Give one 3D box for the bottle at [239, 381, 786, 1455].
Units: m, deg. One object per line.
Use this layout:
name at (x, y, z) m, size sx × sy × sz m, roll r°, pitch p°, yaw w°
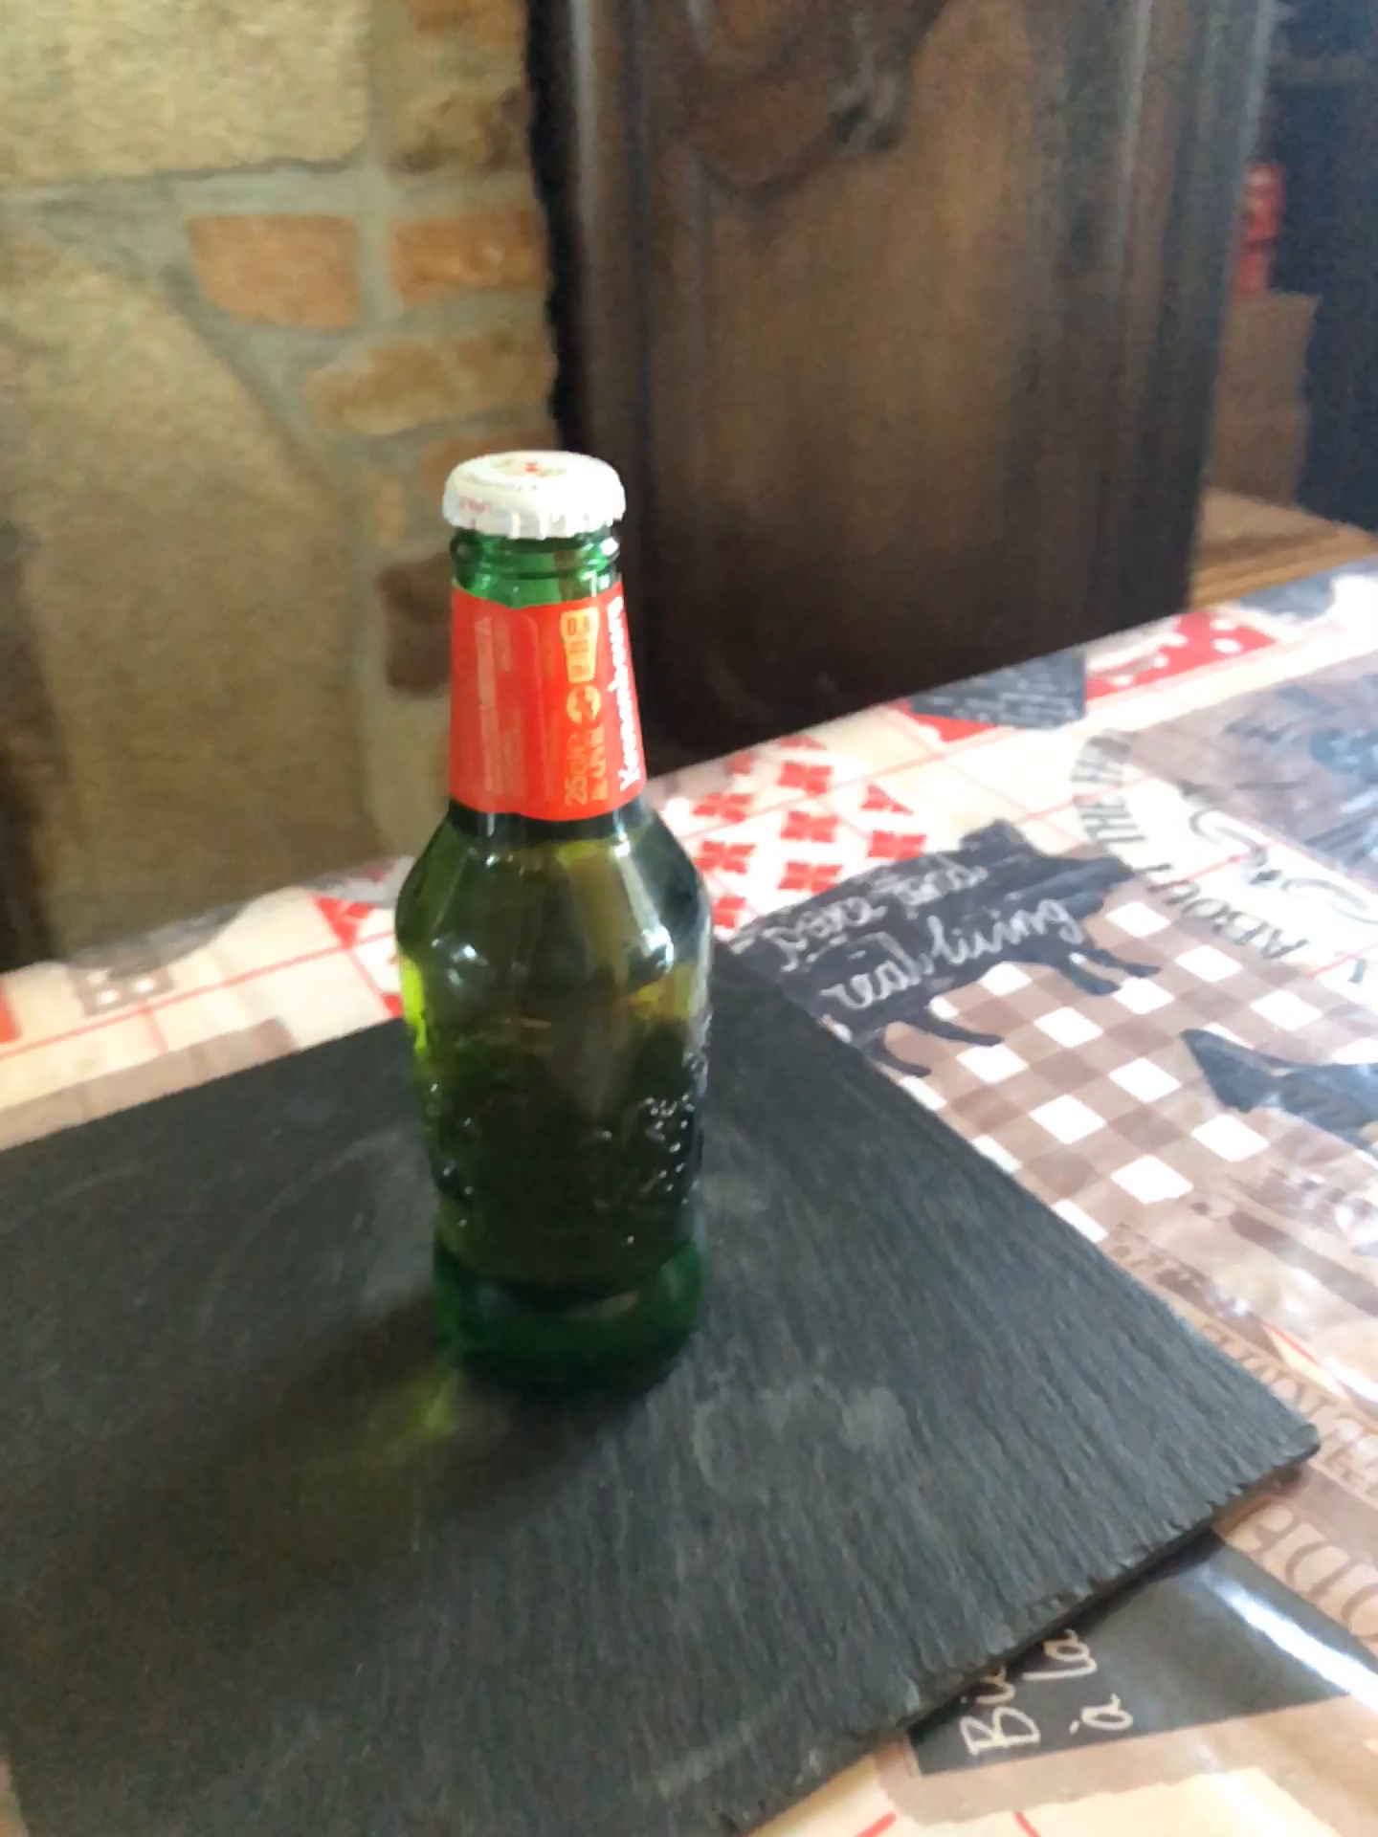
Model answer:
bottle at (-0.026, 0.003, 0.284) m, size 0.060 × 0.179 × 0.060 m, roll -1°, pitch 30°, yaw 0°
